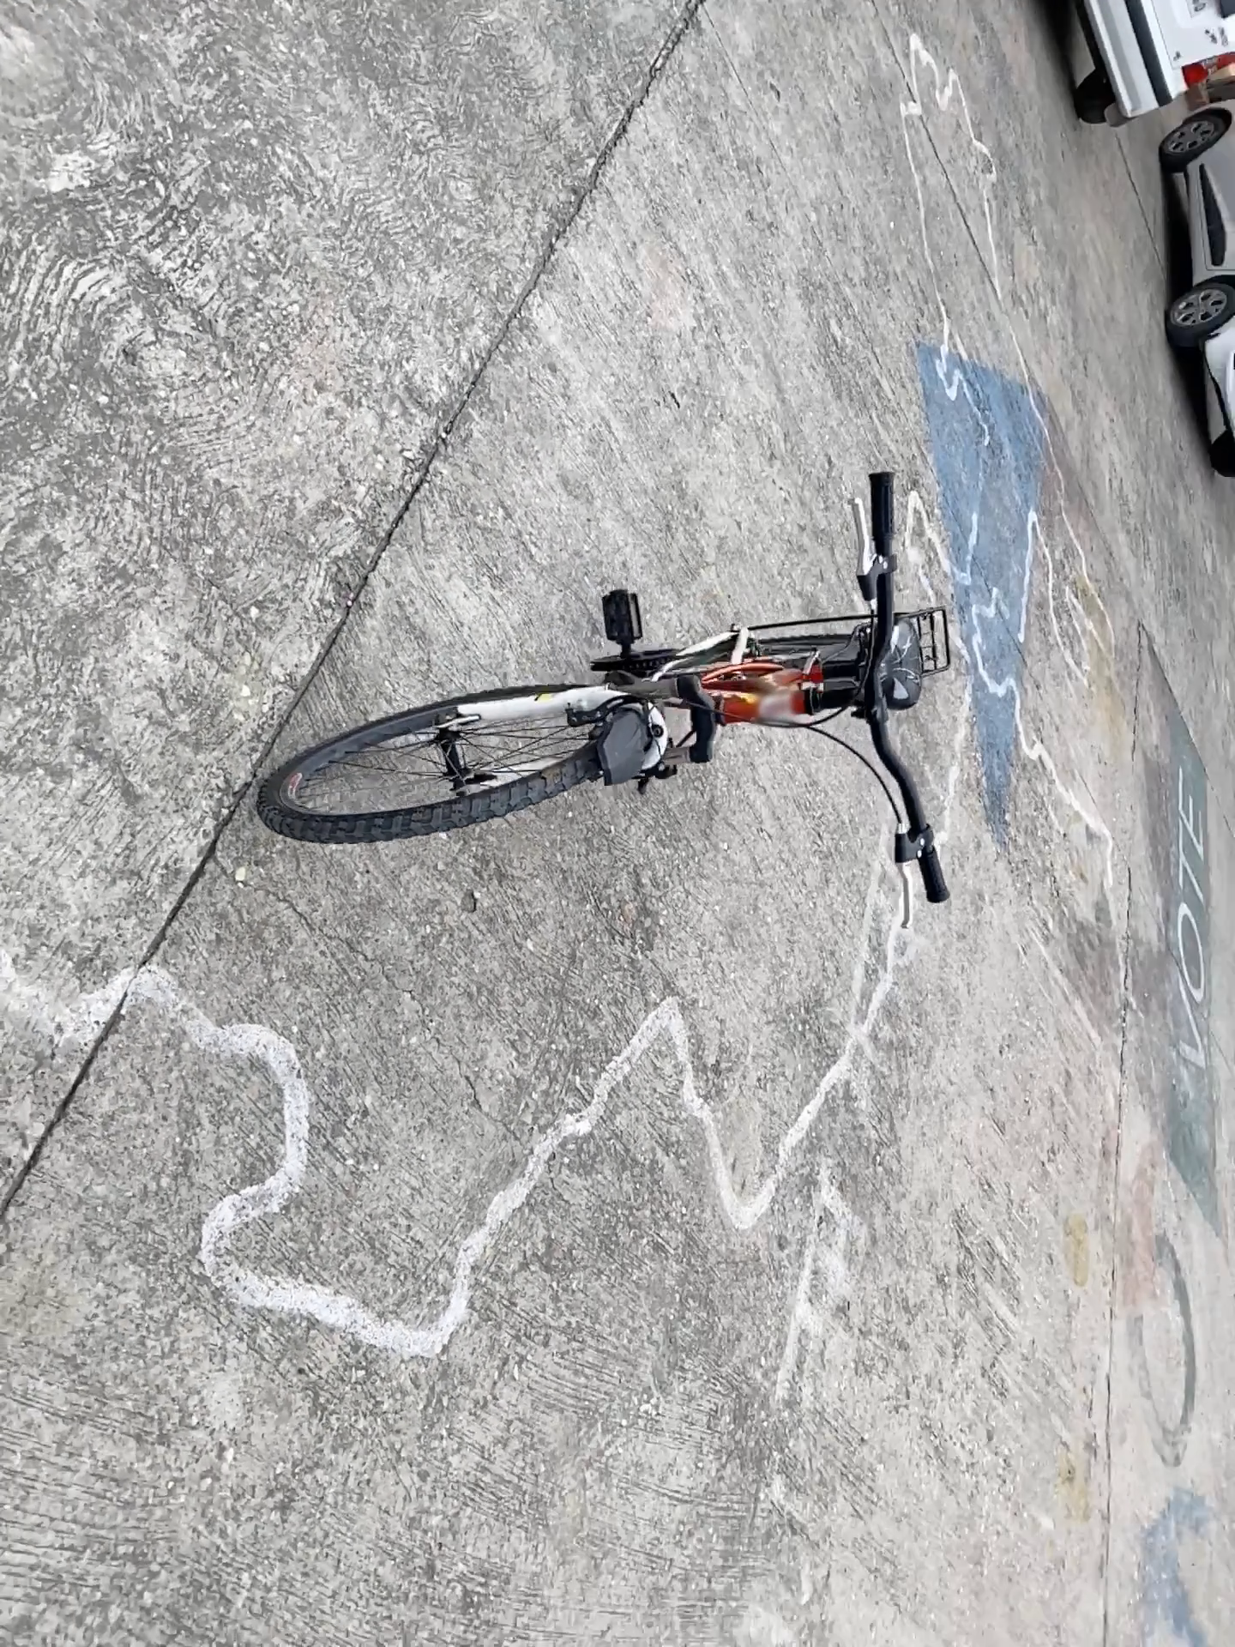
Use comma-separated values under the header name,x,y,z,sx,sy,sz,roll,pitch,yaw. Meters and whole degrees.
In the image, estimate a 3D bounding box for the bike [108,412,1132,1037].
name,x,y,z,sx,sy,sz,roll,pitch,yaw
bike,0.166,-0.241,2.173,1.520,0.977,0.584,-30,106,-54
